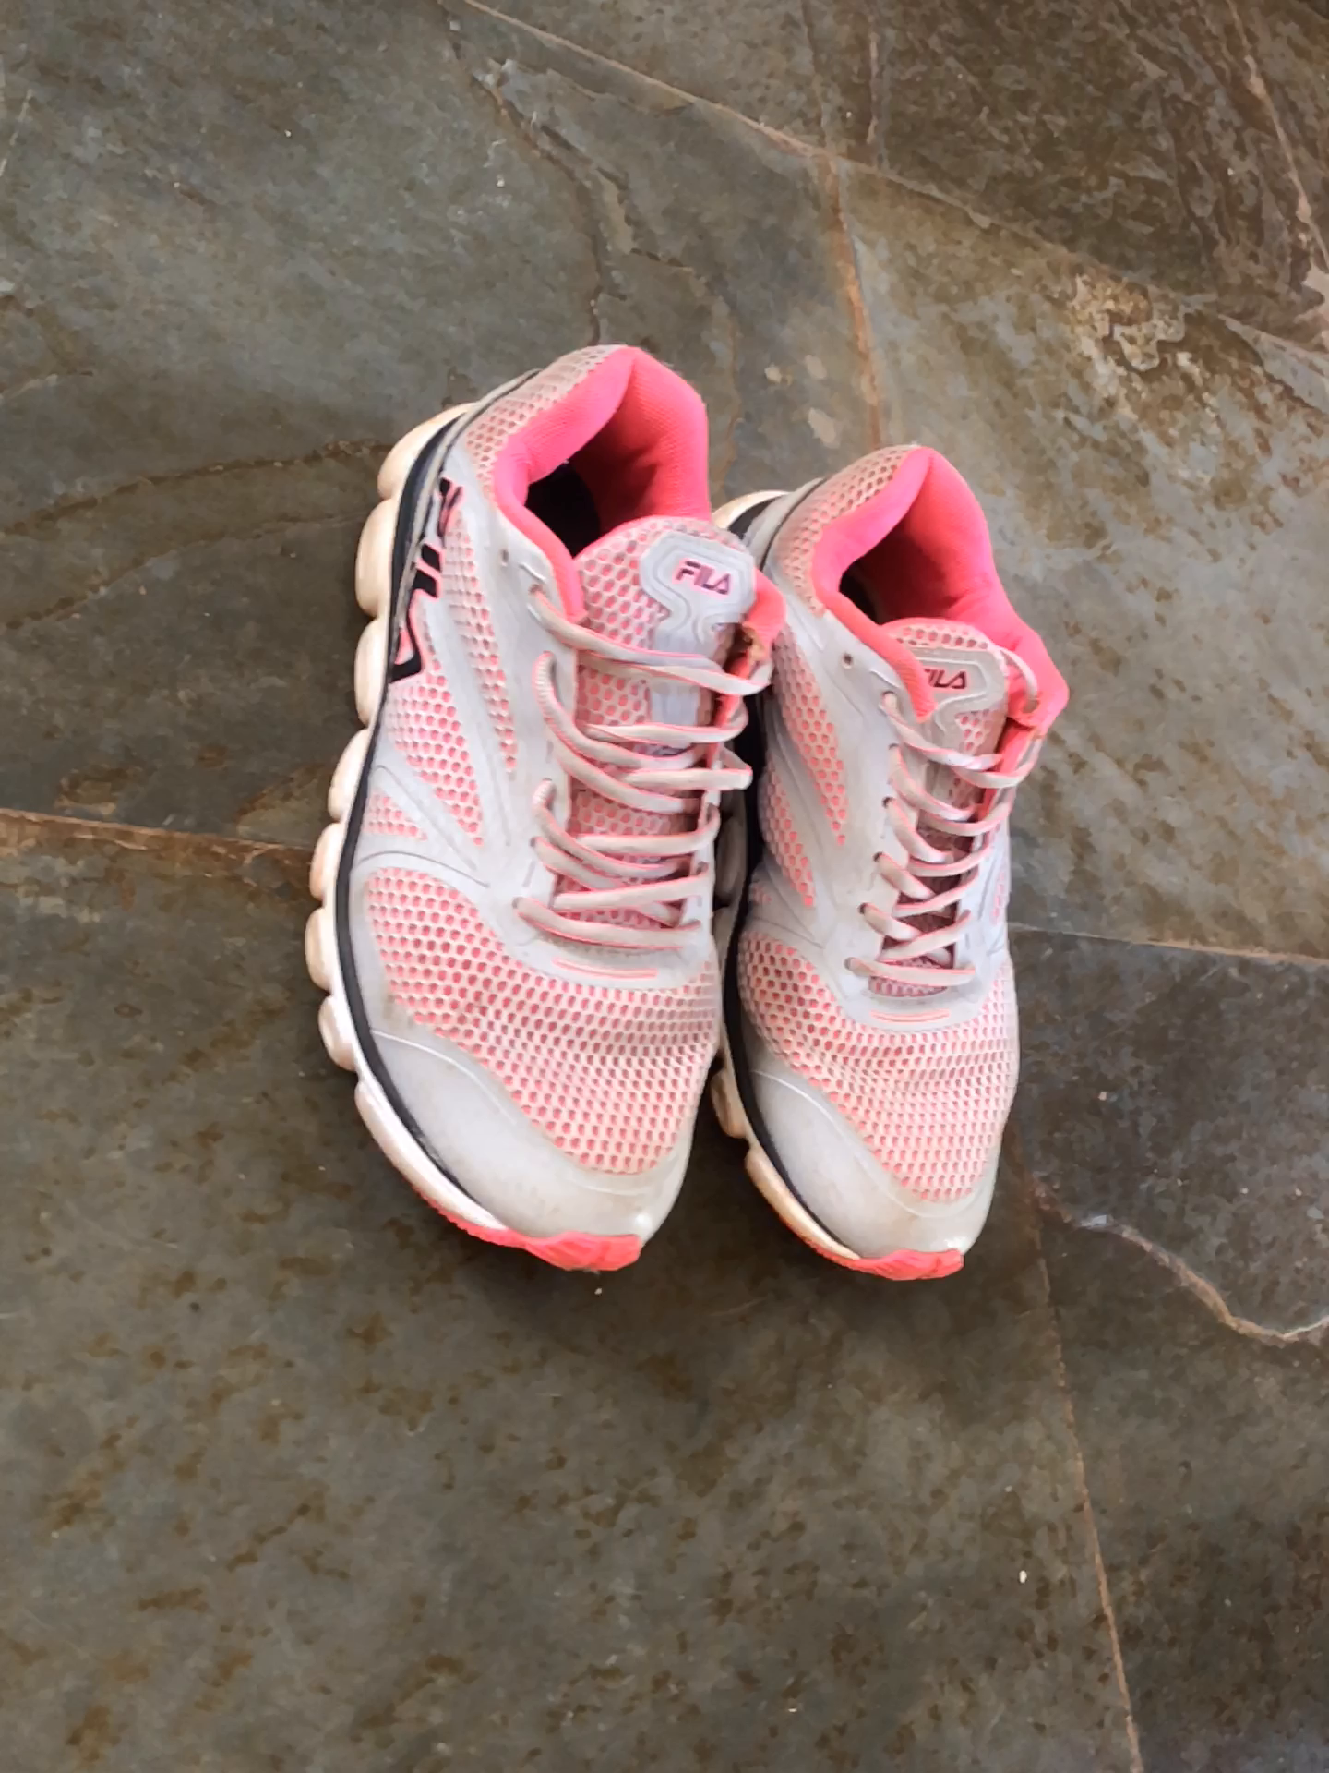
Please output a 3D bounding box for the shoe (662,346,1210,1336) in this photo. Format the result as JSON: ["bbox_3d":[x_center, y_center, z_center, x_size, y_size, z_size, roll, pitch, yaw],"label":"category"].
[{"bbox_3d":[0.075,-0.011,0.475,0.110,0.099,0.291,11,65,-27],"label":"shoe"}]

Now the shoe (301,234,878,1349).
[{"bbox_3d":[-0.031,-0.023,0.413,0.110,0.099,0.281,8,66,-28],"label":"shoe"}]
